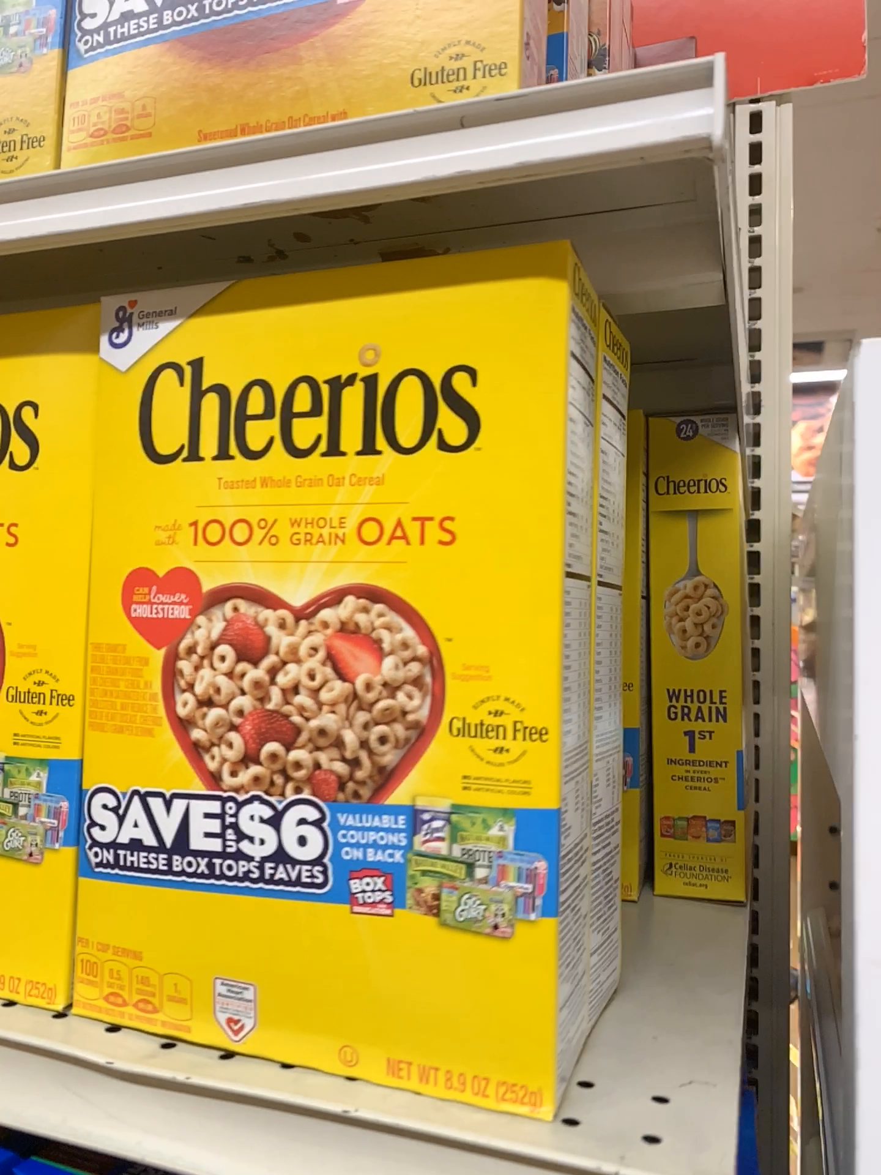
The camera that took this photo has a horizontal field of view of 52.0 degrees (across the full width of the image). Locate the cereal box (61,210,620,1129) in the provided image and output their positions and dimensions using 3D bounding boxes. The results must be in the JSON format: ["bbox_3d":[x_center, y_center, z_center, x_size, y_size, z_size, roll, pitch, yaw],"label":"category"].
[{"bbox_3d":[-0.037,0.021,0.324,0.190,0.270,0.050,0,-3,21],"label":"cereal box"}]
